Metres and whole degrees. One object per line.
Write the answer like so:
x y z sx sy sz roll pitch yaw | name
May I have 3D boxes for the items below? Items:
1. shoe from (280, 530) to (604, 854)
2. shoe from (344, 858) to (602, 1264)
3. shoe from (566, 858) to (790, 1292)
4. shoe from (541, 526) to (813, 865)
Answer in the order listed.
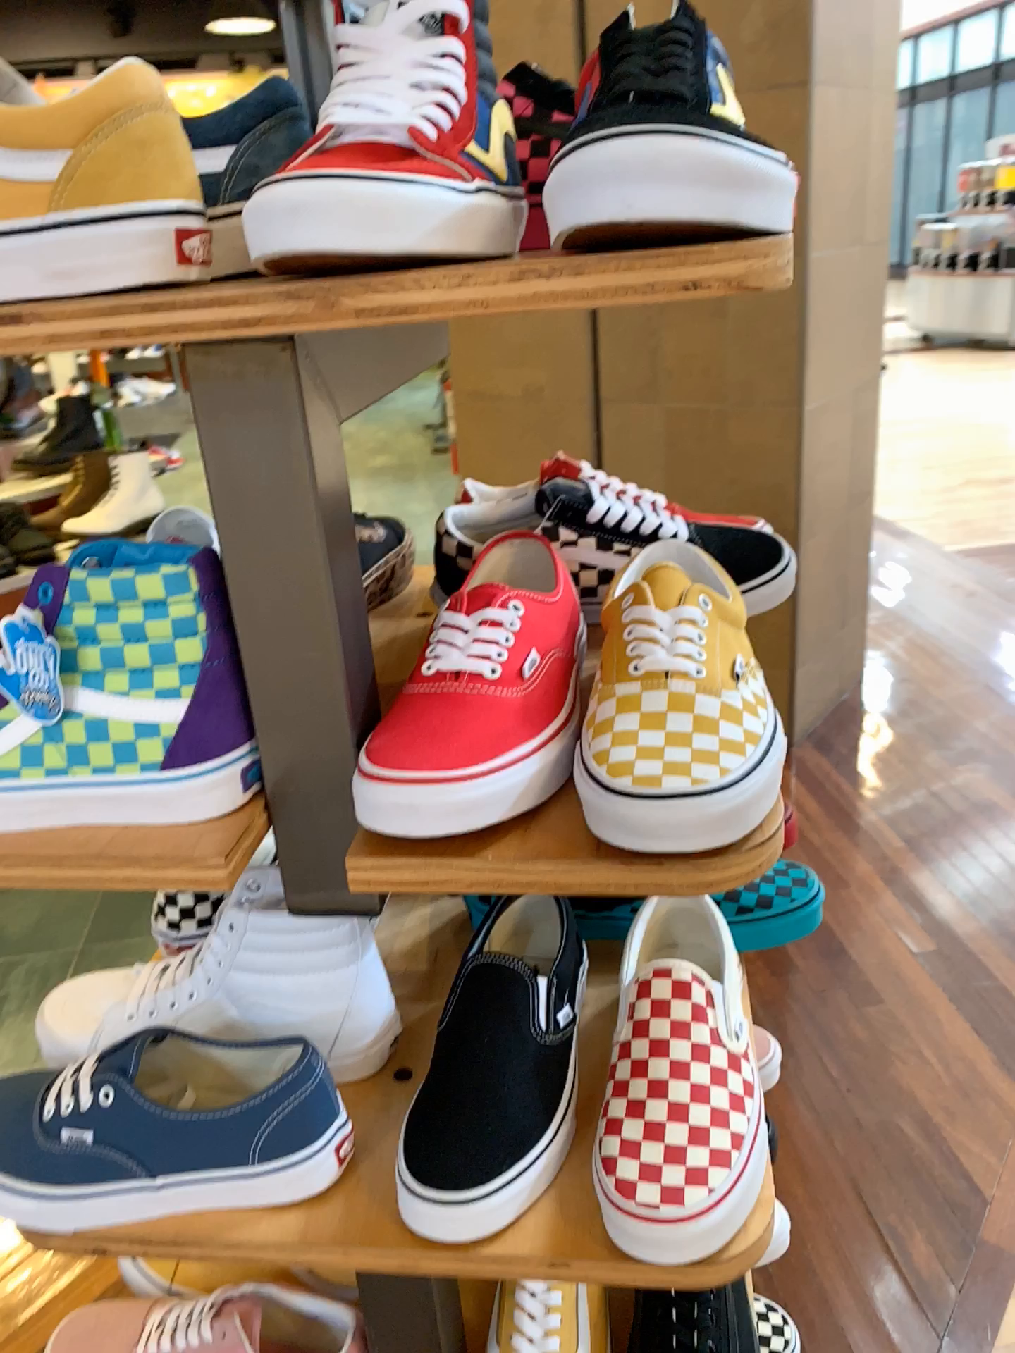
-0.016 -0.009 0.557 0.109 0.067 0.269 0 23 11 | shoe
-0.006 0.218 0.654 0.105 0.067 0.269 0 23 11 | shoe
0.103 0.212 0.619 0.103 0.067 0.269 0 23 11 | shoe
0.085 -0.008 0.534 0.103 0.067 0.269 -1 23 9 | shoe
